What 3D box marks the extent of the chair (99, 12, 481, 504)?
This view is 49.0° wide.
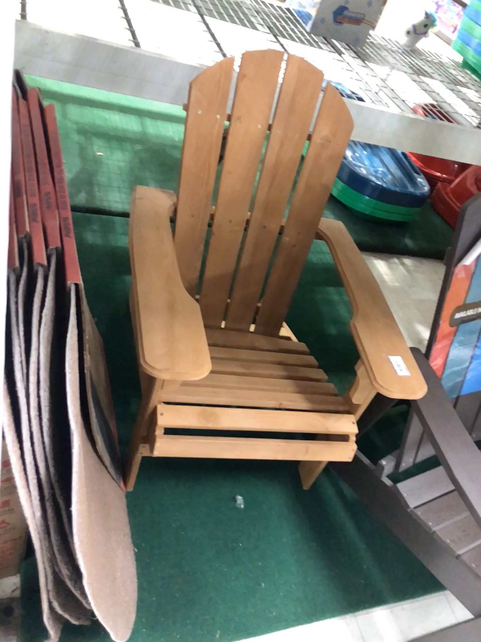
[{"bbox_3d":[0.049,-0.082,1.307,0.642,0.885,0.689,7,44,-20],"label":"chair"}]
